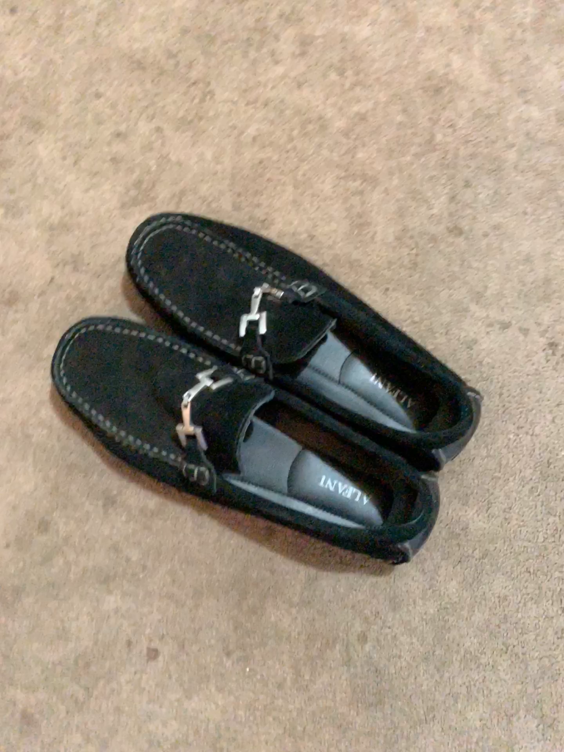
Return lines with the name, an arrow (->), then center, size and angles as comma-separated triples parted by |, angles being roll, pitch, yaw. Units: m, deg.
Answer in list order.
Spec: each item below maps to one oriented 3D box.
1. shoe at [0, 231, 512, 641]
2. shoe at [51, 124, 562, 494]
shoe -> -0.028, 0.039, 0.383 | 0.310, 0.100, 0.100 | 29, 77, 2
shoe -> 0.014, -0.037, 0.410 | 0.310, 0.100, 0.100 | 29, 77, 2
